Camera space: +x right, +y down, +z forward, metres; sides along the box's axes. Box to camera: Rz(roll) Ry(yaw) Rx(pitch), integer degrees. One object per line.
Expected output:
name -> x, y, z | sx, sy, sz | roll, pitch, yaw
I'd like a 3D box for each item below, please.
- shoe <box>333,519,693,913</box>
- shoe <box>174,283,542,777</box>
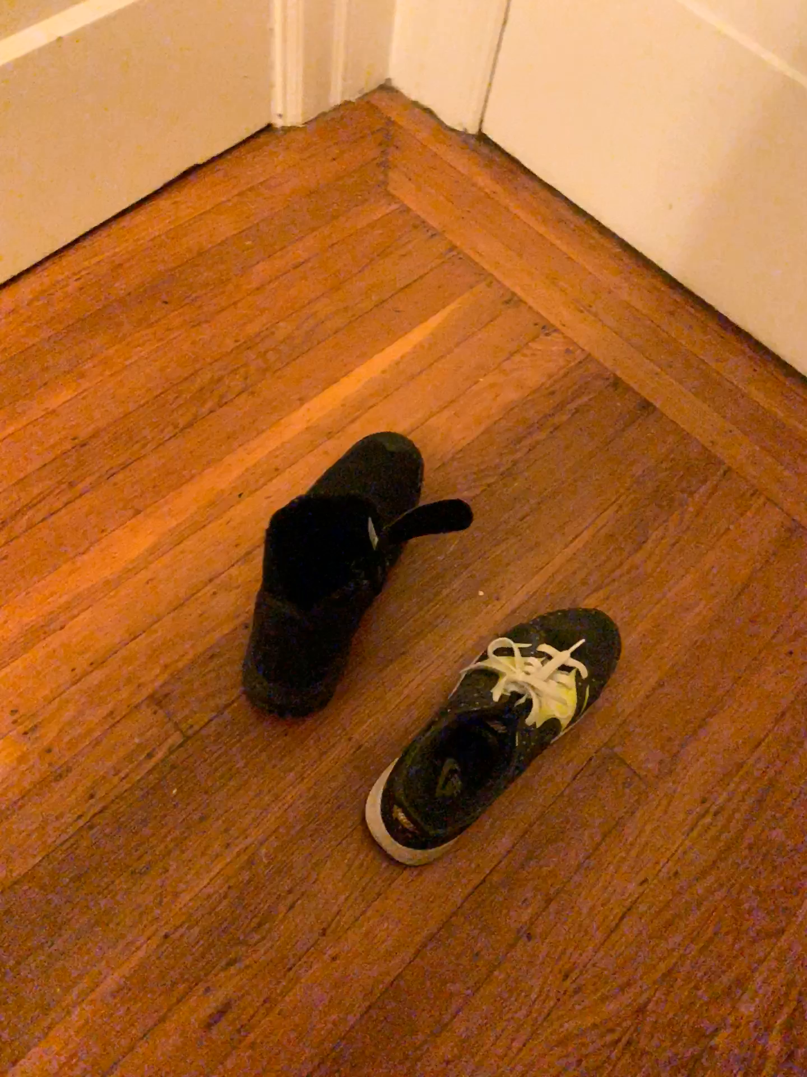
shoe -> 0.089, 0.136, 0.664 | 0.120, 0.100, 0.290 | 40, 65, 13
shoe -> -0.033, 0.001, 0.701 | 0.160, 0.239, 0.311 | 22, 62, 4
